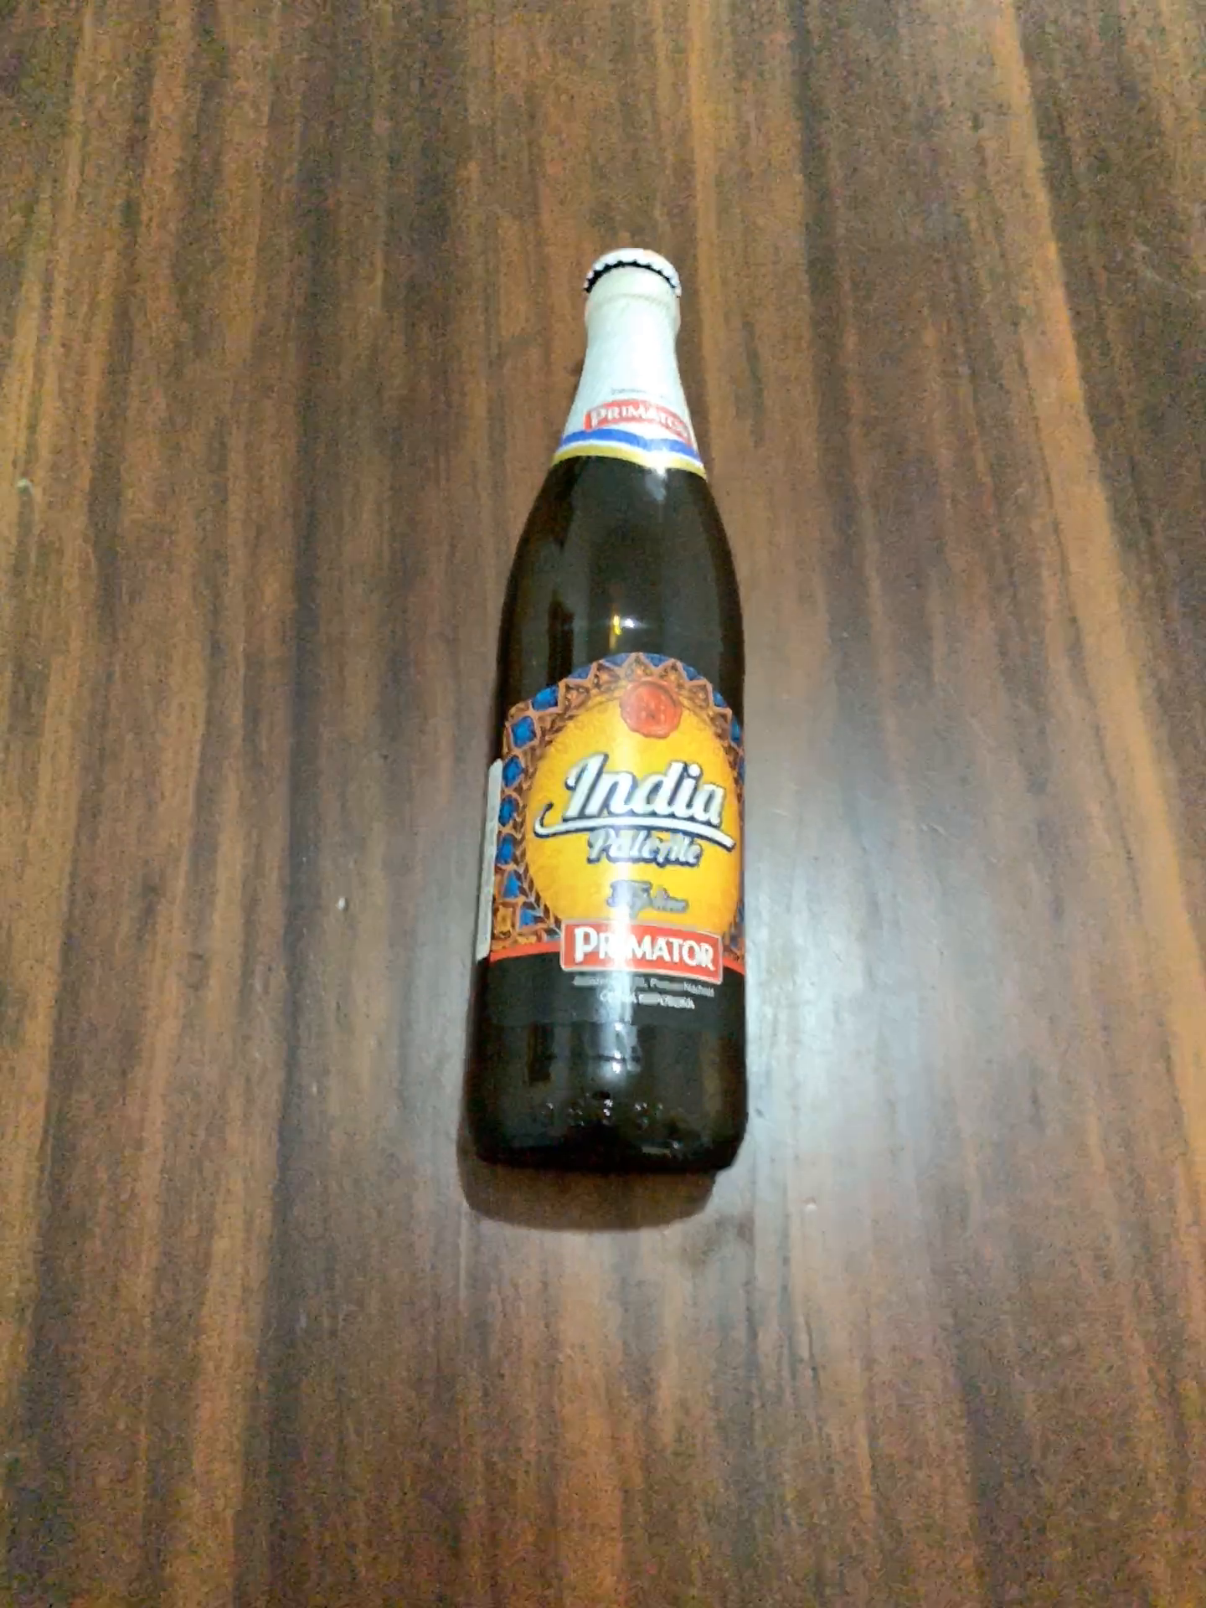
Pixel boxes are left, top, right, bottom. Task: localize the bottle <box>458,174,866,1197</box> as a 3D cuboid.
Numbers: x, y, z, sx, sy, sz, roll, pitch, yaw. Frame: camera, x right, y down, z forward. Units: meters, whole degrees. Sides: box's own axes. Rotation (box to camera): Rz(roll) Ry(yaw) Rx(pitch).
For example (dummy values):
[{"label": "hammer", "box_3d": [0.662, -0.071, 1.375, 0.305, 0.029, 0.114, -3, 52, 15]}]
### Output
[{"label": "bottle", "box_3d": [0.012, -0.036, 0.324, 0.080, 0.060, 0.260, 5, 69, -10]}]
